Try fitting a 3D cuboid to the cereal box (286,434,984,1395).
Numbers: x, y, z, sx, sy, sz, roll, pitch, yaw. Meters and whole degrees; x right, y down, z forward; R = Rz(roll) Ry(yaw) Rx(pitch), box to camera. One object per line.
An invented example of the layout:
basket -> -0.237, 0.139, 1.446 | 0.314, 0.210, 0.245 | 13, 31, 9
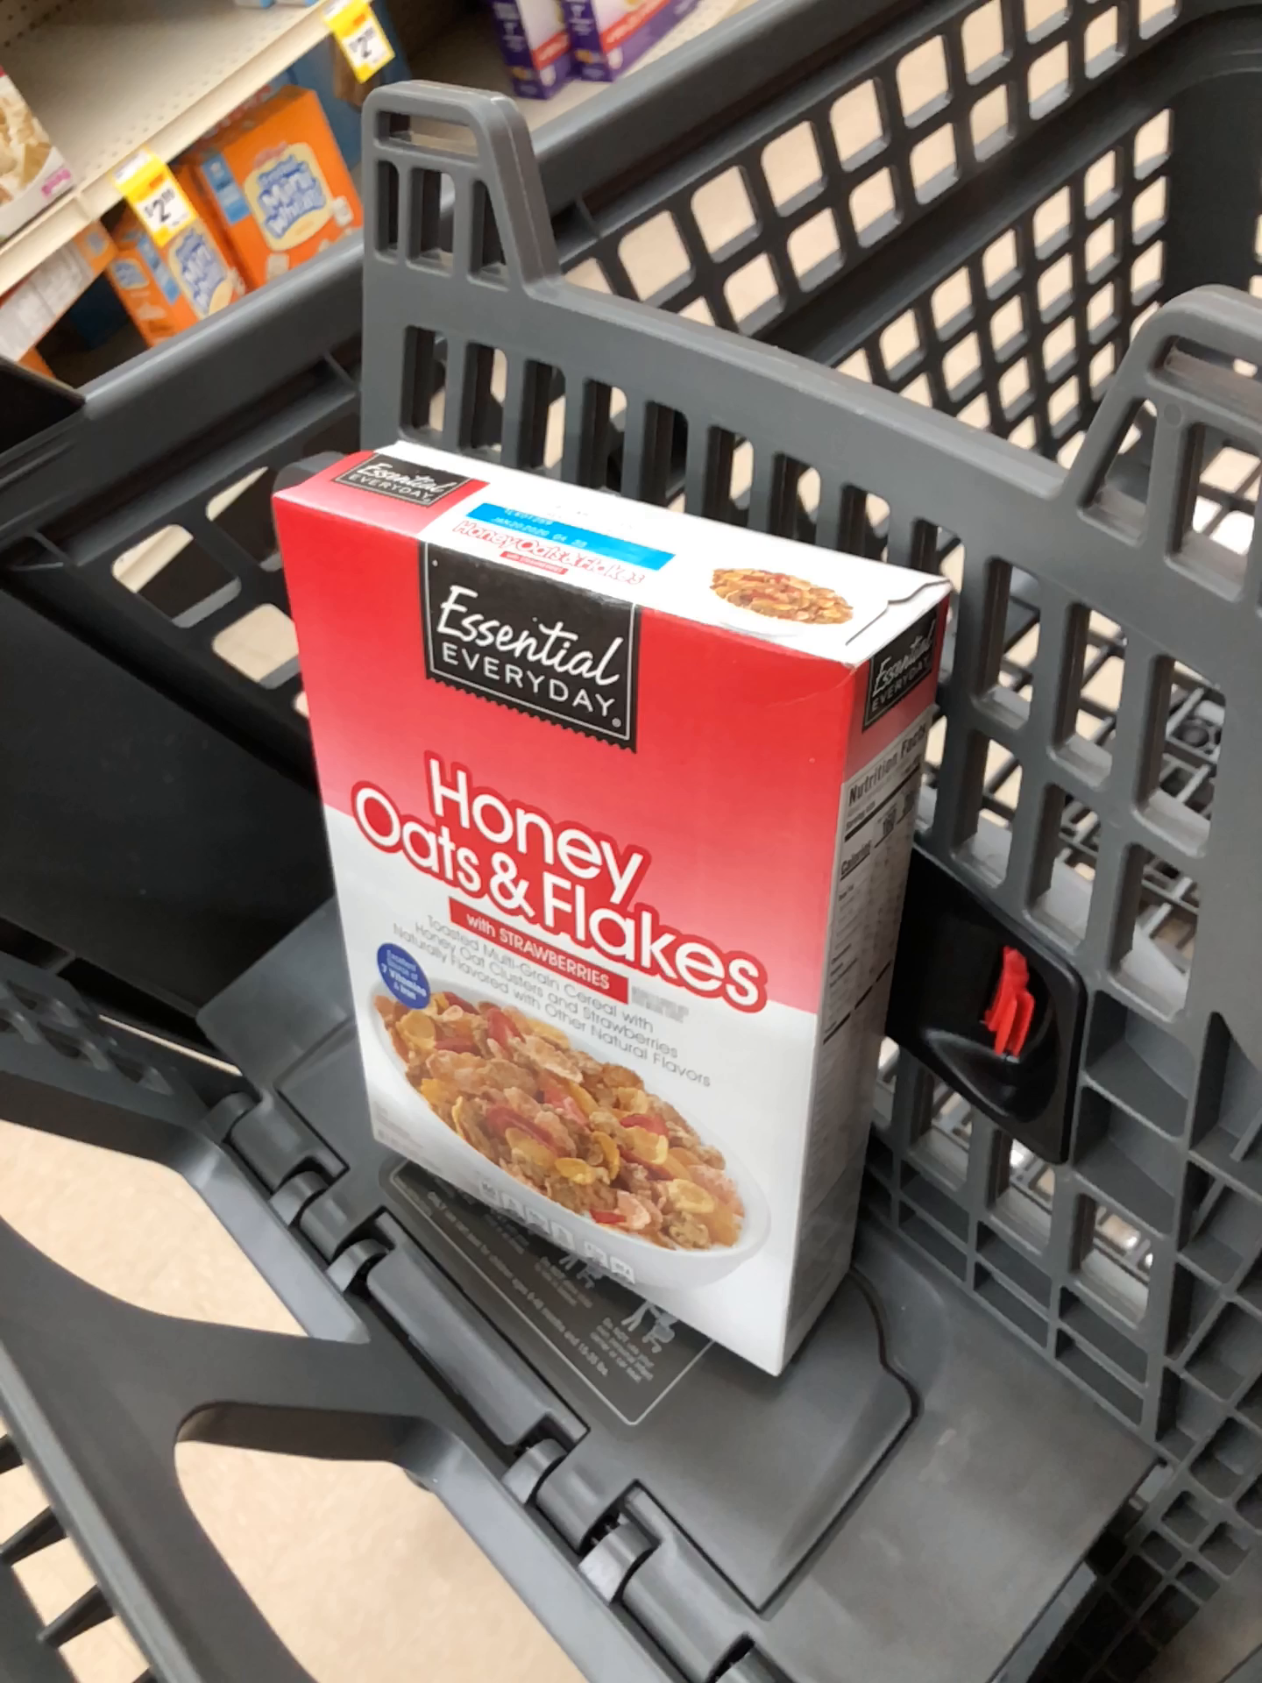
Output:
cereal box -> -0.005, 0.026, 0.438 | 0.180, 0.260, 0.060 | 21, 39, 29
